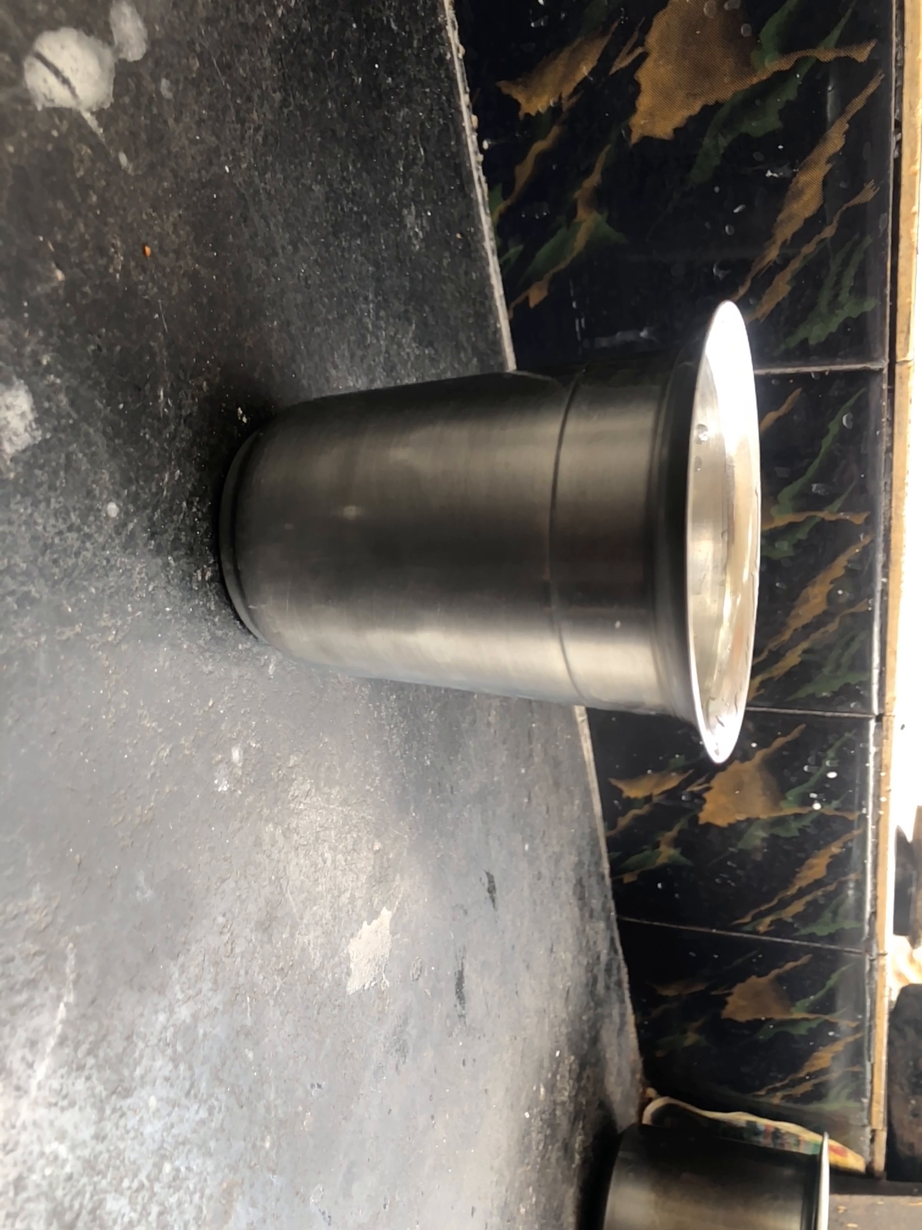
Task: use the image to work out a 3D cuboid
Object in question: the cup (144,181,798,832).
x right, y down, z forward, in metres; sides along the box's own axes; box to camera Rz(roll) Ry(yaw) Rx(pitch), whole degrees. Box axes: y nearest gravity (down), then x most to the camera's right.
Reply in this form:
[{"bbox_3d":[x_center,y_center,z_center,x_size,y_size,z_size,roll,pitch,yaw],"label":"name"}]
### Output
[{"bbox_3d":[0.015,-0.019,0.219,0.090,0.099,0.090,2,90,-68],"label":"cup"}]
